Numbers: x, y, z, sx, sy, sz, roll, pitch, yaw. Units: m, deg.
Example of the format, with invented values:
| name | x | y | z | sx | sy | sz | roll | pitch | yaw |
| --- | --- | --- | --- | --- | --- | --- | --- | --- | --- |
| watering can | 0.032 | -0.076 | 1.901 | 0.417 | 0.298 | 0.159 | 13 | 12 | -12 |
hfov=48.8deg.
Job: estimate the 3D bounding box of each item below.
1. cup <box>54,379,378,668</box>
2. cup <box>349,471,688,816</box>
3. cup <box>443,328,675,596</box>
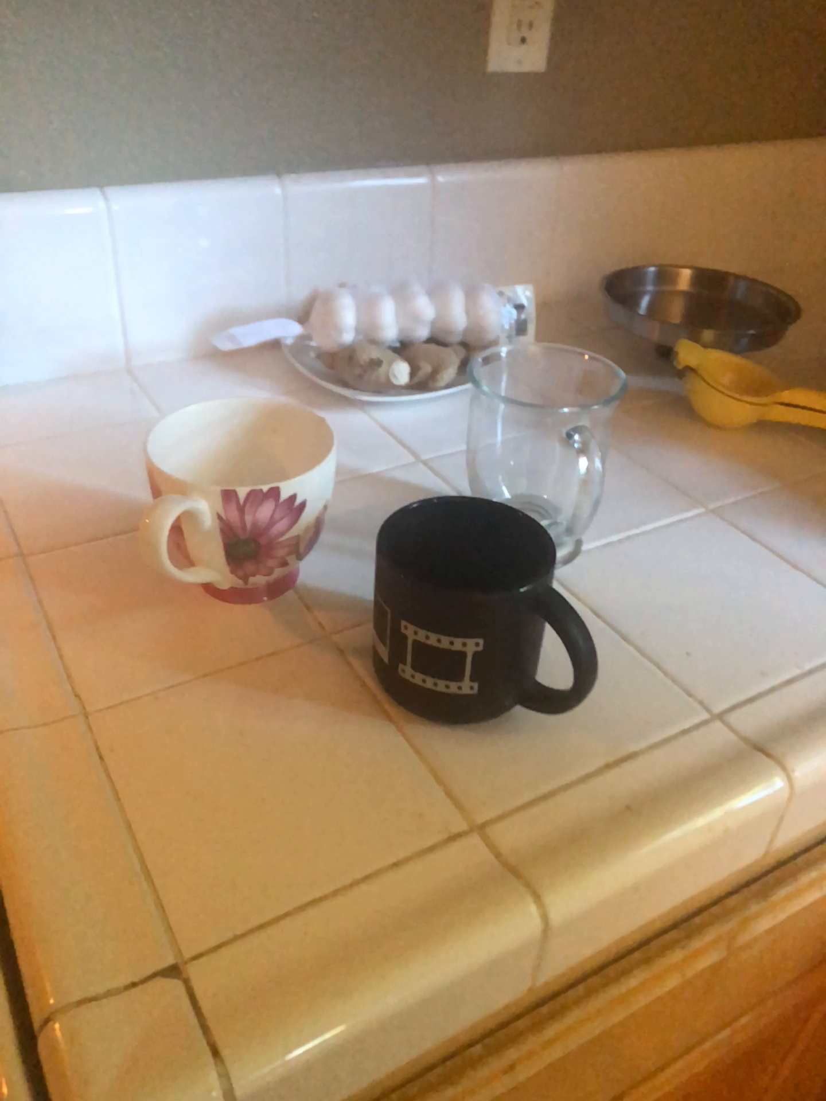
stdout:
| name | x | y | z | sx | sy | sz | roll | pitch | yaw |
| --- | --- | --- | --- | --- | --- | --- | --- | --- | --- |
| cup | -0.105 | -0.023 | 0.524 | 0.110 | 0.079 | 0.141 | 21 | 39 | 22 |
| cup | 0.048 | 0.040 | 0.469 | 0.101 | 0.089 | 0.130 | -25 | 45 | -34 |
| cup | 0.081 | -0.057 | 0.568 | 0.100 | 0.119 | 0.121 | -1 | 36 | -7 |
